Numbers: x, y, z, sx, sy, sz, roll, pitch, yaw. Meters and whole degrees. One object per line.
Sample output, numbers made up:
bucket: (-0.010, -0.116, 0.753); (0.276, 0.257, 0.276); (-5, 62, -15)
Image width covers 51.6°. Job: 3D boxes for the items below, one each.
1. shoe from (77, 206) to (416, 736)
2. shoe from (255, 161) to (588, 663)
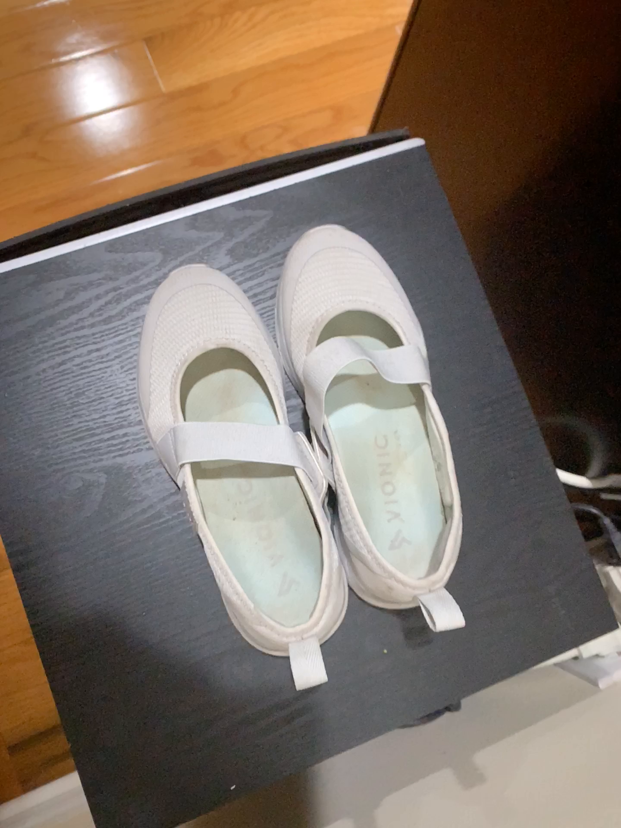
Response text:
shoe: (-0.038, 0.027, 0.372); (0.102, 0.094, 0.249); (-17, 85, -8)
shoe: (0.053, -0.003, 0.386); (0.102, 0.094, 0.249); (-17, 85, -8)
